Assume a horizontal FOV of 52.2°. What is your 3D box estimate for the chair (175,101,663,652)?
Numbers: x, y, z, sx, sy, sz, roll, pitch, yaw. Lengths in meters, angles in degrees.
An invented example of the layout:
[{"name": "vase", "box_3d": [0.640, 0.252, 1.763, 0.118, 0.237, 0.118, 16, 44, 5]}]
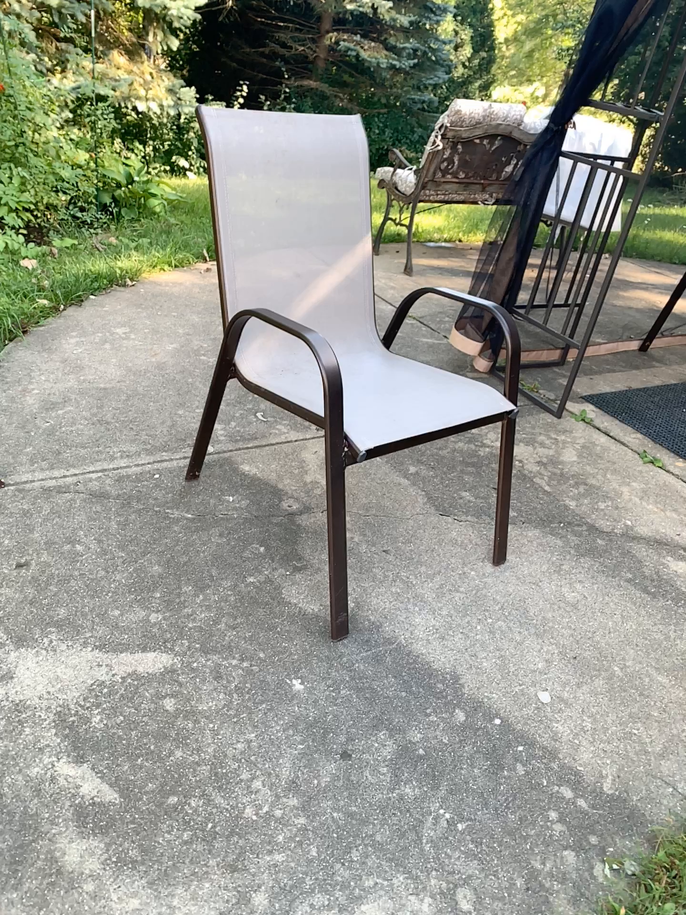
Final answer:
[{"name": "chair", "box_3d": [0.063, -0.232, 1.521, 0.571, 0.845, 0.743, -15, 38, -34]}]
